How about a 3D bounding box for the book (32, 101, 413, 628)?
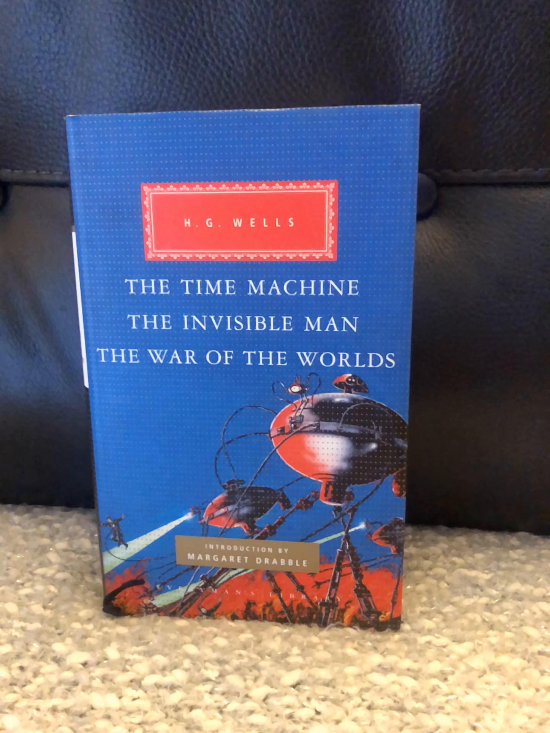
[{"bbox_3d":[-0.019,0.006,0.278,0.148,0.225,0.034,0,14,5],"label":"book"}]
